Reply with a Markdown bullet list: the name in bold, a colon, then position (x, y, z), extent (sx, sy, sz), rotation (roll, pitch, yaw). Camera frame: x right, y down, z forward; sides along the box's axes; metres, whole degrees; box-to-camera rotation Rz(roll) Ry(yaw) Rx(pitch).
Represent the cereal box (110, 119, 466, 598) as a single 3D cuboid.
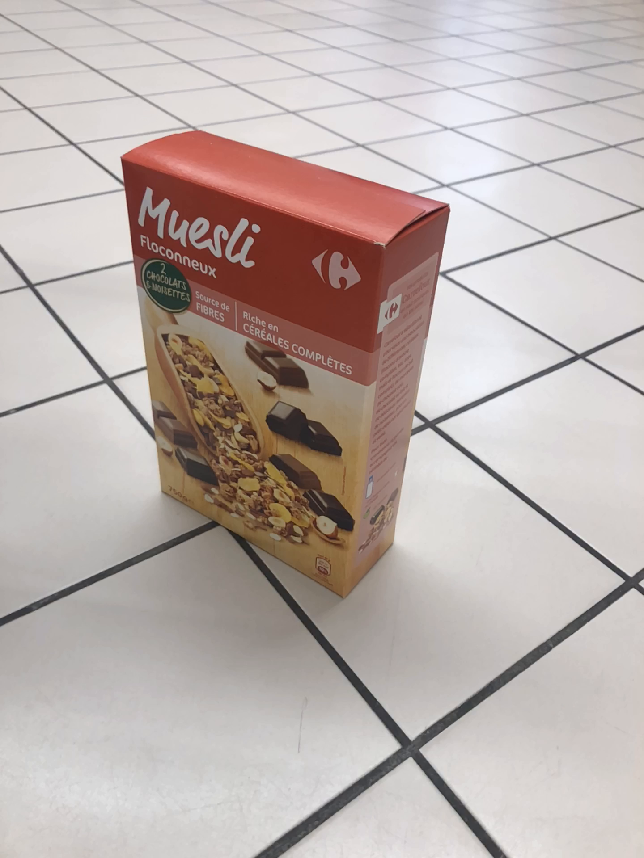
- **cereal box**: position (-0.027, -0.037, 0.431), extent (0.170, 0.239, 0.070), rotation (26, 43, 24)
